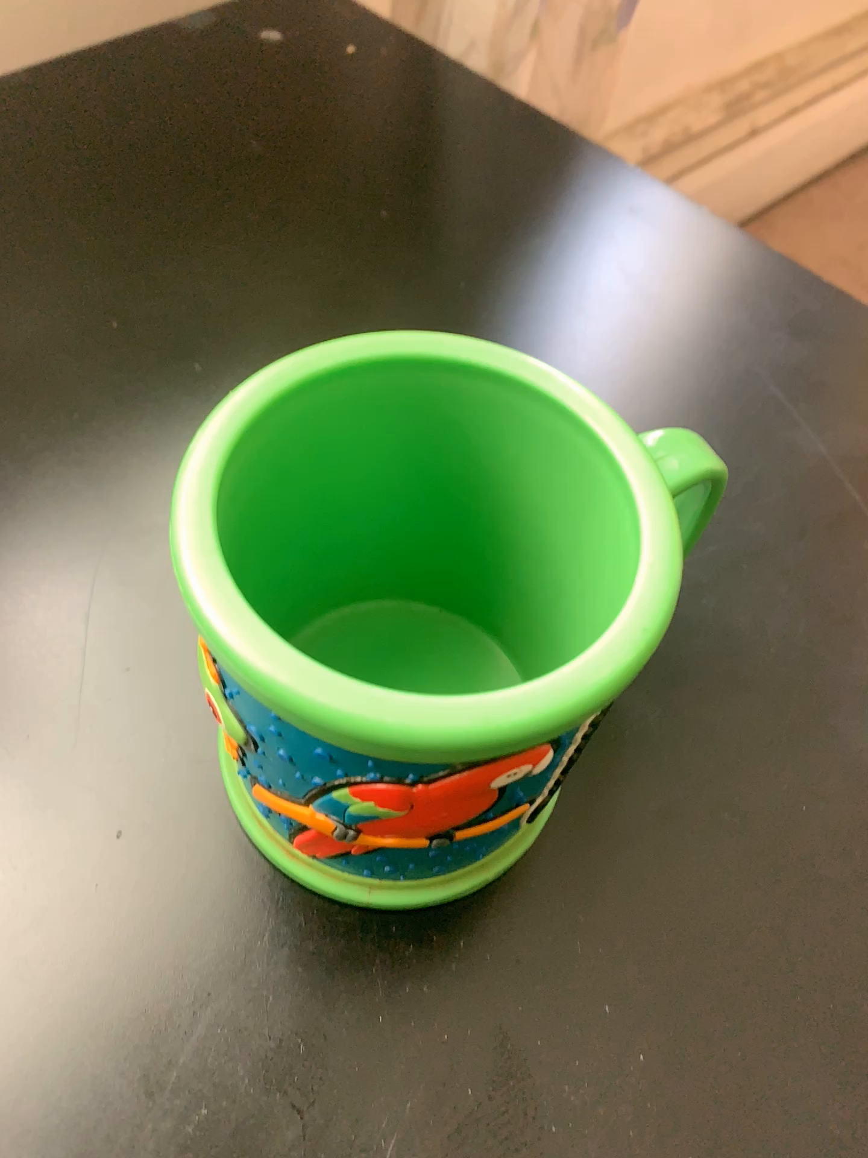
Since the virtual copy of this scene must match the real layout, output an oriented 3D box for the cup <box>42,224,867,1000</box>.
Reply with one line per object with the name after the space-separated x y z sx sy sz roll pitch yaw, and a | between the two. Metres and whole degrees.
0.005 0.007 0.186 0.120 0.099 0.080 -23 61 -21 | cup
